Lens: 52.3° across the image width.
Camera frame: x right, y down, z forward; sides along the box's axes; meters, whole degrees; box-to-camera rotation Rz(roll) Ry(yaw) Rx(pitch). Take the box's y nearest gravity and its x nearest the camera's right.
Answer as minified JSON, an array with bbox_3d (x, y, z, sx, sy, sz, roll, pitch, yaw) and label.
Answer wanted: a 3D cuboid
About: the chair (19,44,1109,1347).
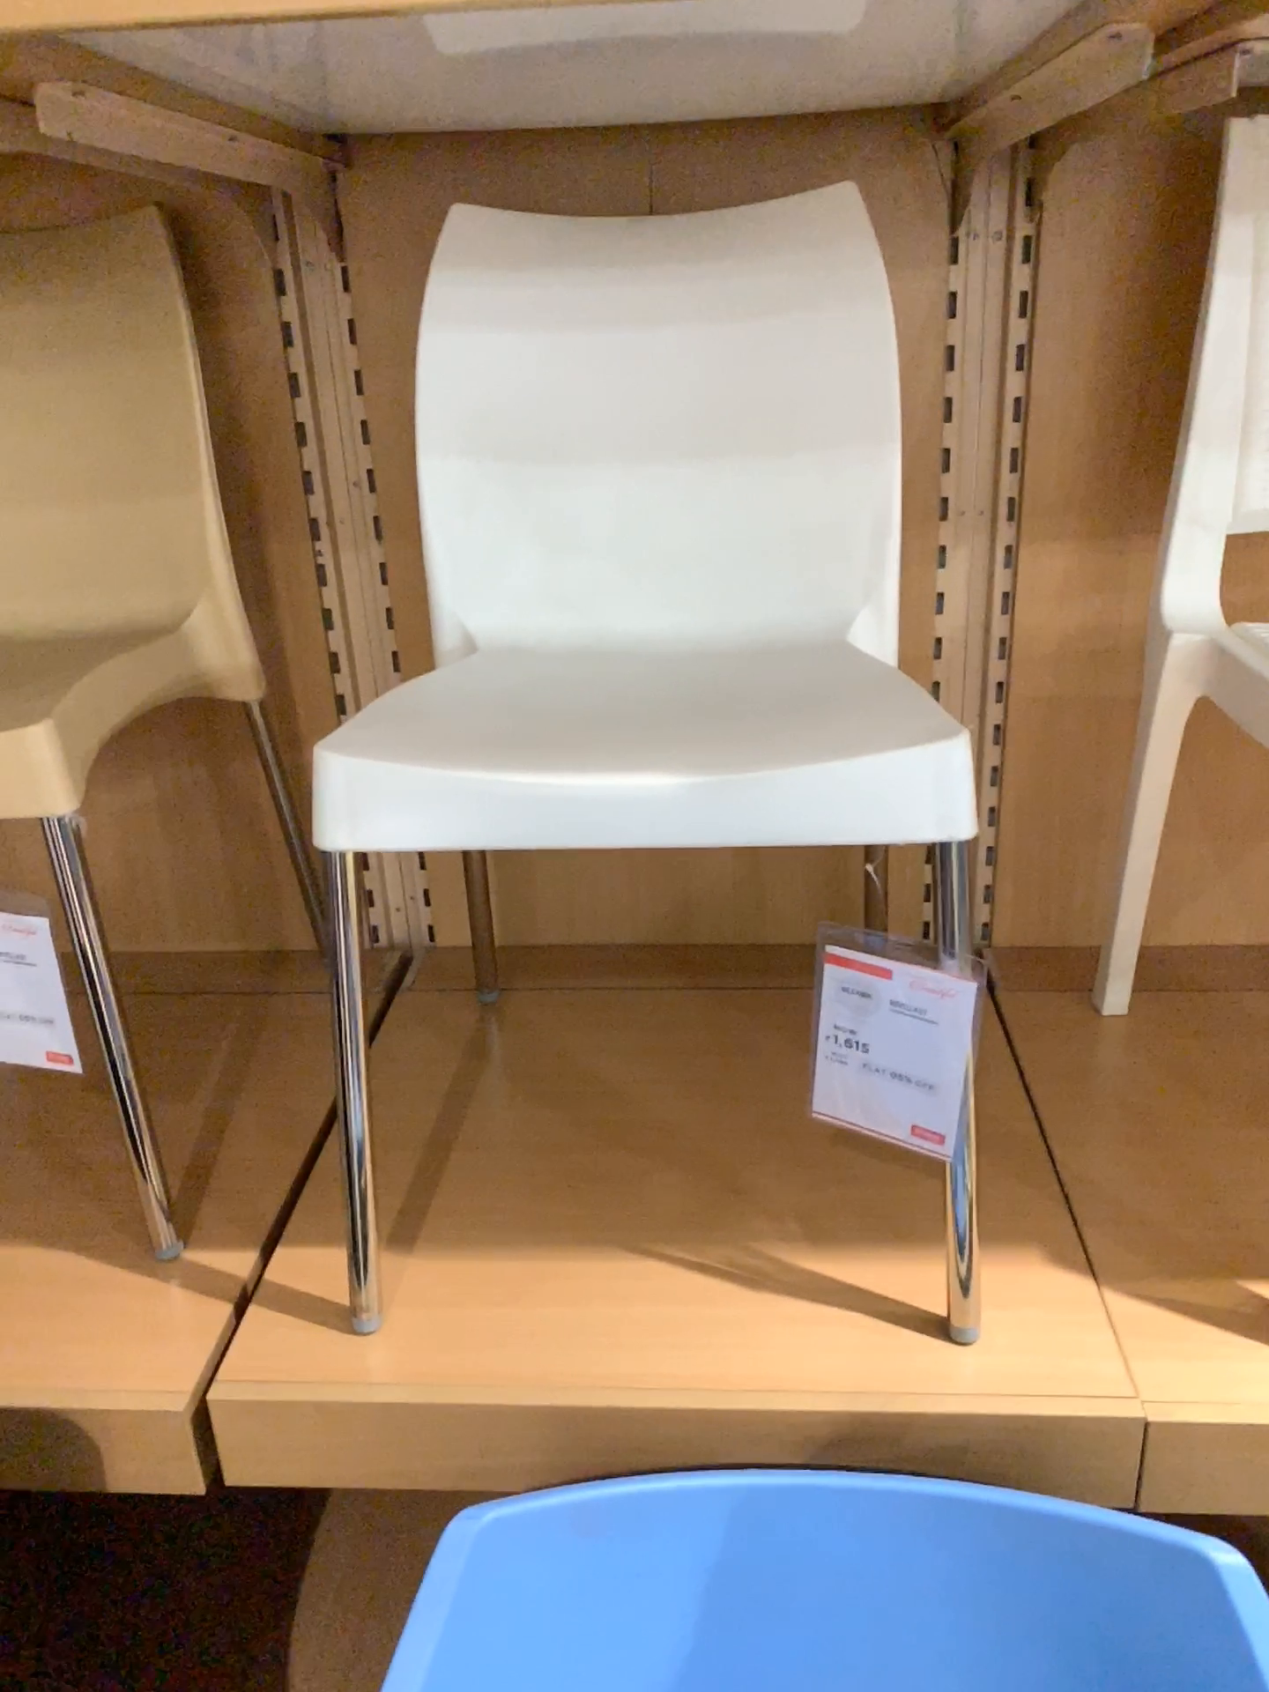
[{"bbox_3d":[-0.009,-0.143,1.210,0.610,0.916,0.683,-1,23,4],"label":"chair"}]
